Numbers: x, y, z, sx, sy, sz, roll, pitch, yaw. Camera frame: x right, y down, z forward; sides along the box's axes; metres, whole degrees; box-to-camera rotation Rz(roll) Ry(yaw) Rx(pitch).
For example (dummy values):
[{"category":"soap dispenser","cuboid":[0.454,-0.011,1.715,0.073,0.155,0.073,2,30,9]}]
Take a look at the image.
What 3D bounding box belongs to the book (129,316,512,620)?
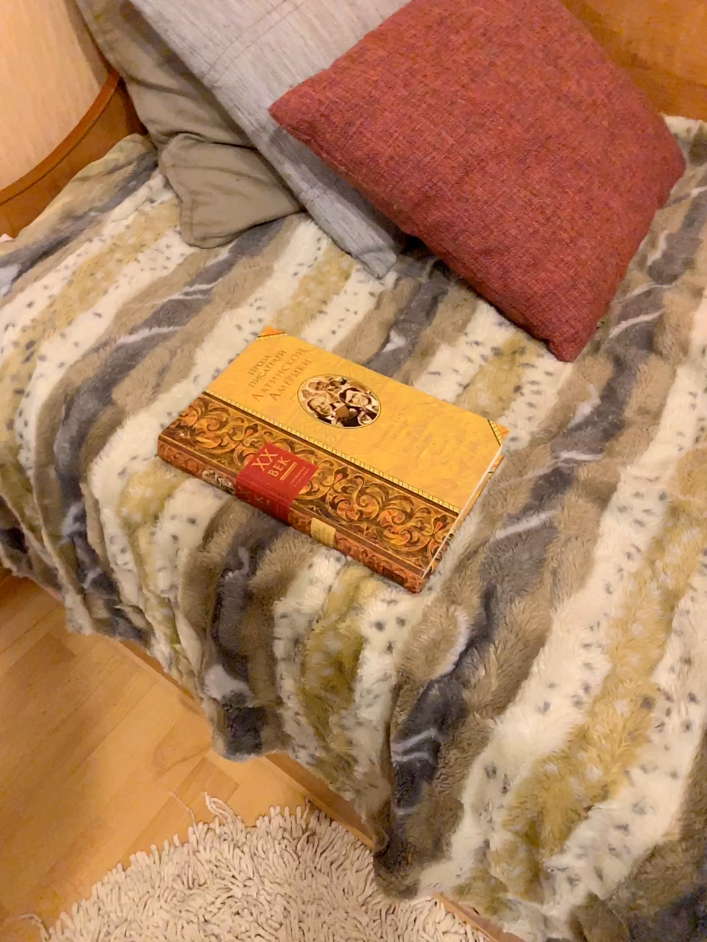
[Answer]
[{"category":"book","cuboid":[-0.027,-0.017,0.633,0.271,0.060,0.181,25,56,19]}]
